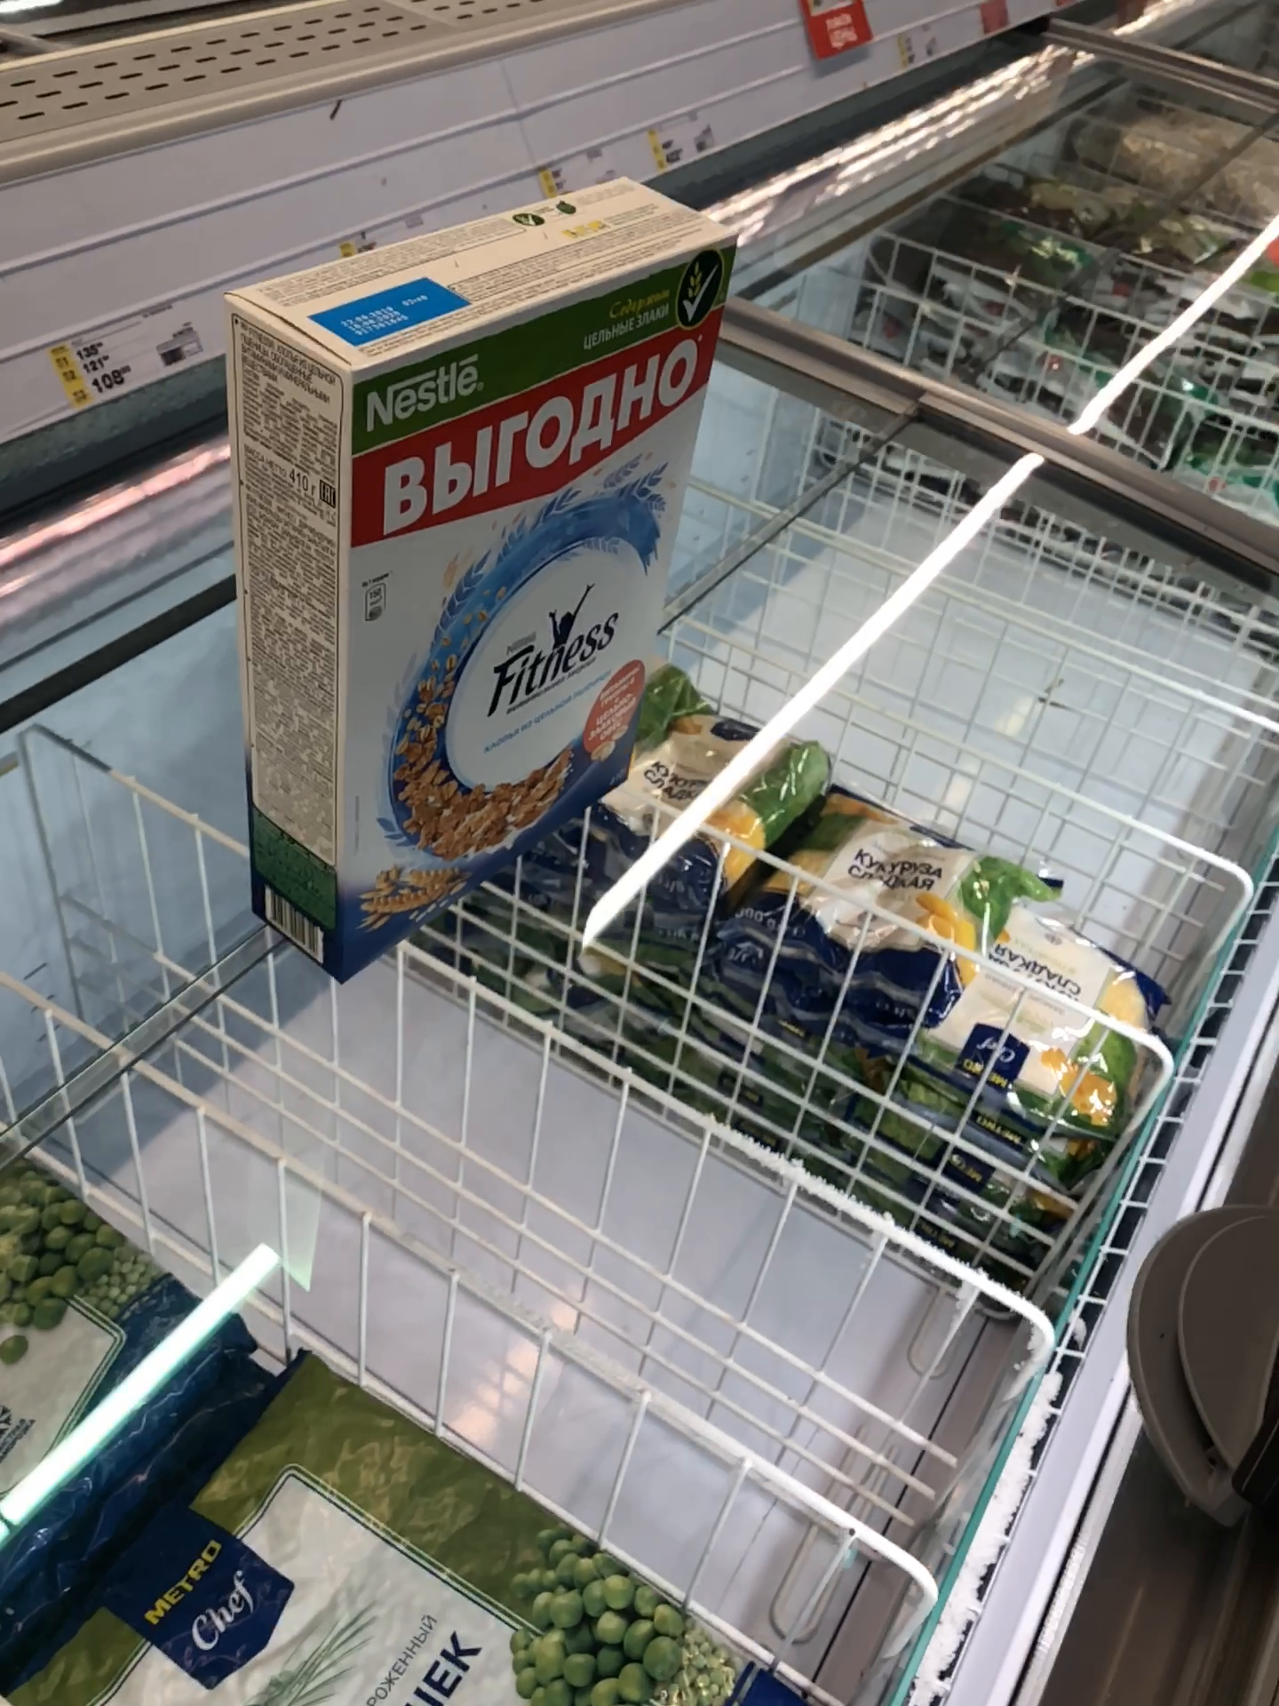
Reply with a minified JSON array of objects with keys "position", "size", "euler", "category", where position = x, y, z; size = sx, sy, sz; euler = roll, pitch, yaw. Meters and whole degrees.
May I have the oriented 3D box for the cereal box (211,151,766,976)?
[{"position":[-0.060,-0.108,0.554],"size":[0.060,0.268,0.201],"euler":[34,48,21],"category":"cereal box"}]
